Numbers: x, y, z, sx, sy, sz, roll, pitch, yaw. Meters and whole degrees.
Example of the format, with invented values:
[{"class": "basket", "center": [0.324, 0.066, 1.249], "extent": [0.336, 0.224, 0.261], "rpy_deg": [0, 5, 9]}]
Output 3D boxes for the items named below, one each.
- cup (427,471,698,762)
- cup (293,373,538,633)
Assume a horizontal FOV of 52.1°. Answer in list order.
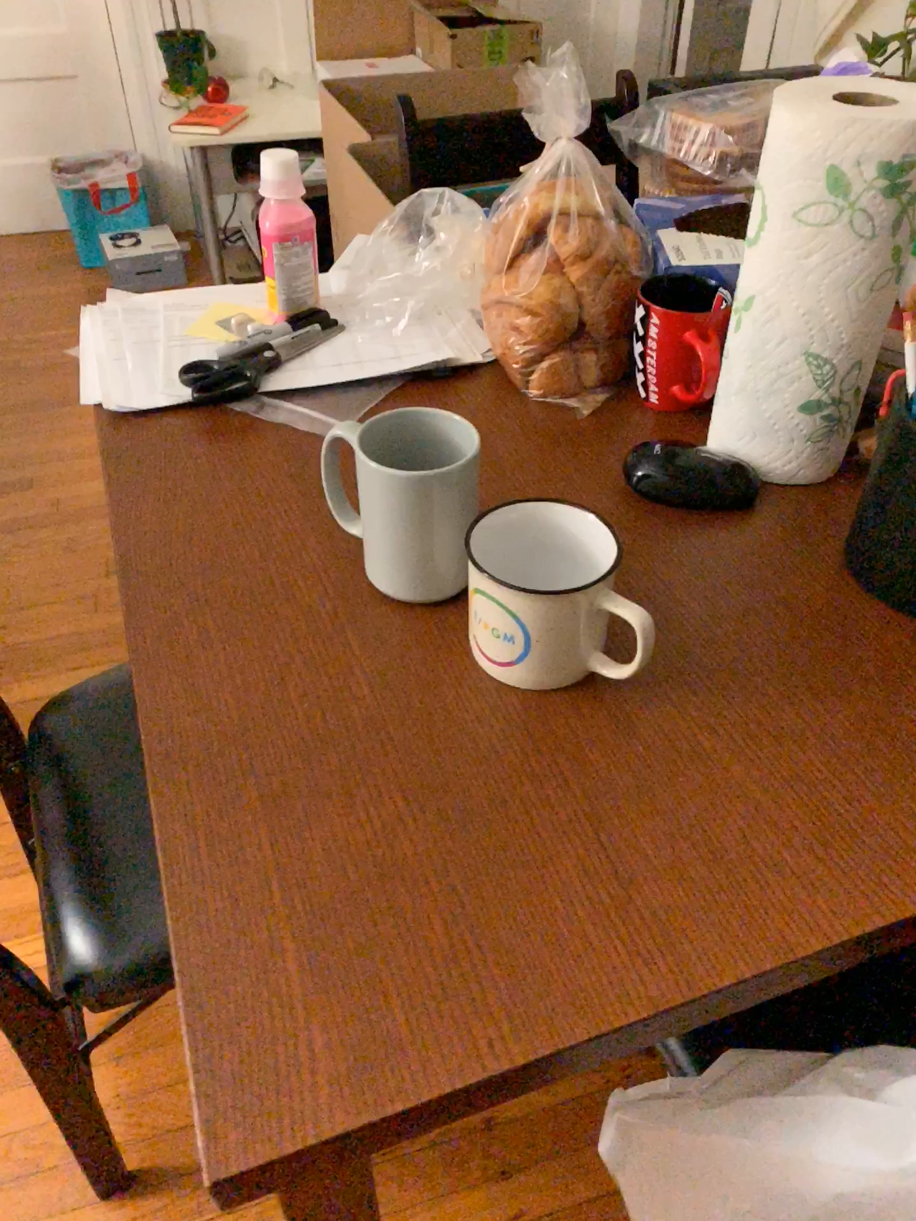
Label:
[{"class": "cup", "center": [0.060, -0.001, 0.592], "extent": [0.100, 0.099, 0.131], "rpy_deg": [-26, 48, -27]}, {"class": "cup", "center": [-0.031, -0.080, 0.655], "extent": [0.100, 0.099, 0.141], "rpy_deg": [-27, 48, -27]}]
